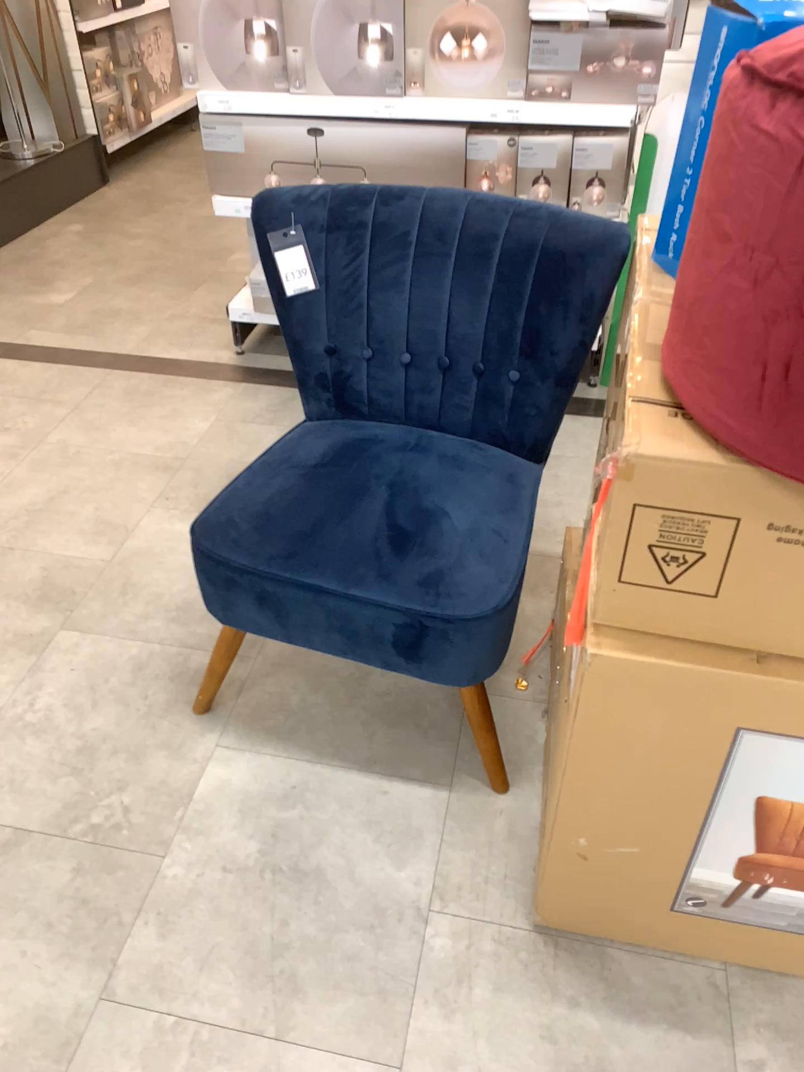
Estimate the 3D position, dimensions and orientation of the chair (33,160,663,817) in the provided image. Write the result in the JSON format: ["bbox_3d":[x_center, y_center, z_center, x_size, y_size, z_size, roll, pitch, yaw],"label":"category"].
[{"bbox_3d":[-0.008,-0.132,1.457,0.730,0.790,0.732,11,40,14],"label":"chair"}]
